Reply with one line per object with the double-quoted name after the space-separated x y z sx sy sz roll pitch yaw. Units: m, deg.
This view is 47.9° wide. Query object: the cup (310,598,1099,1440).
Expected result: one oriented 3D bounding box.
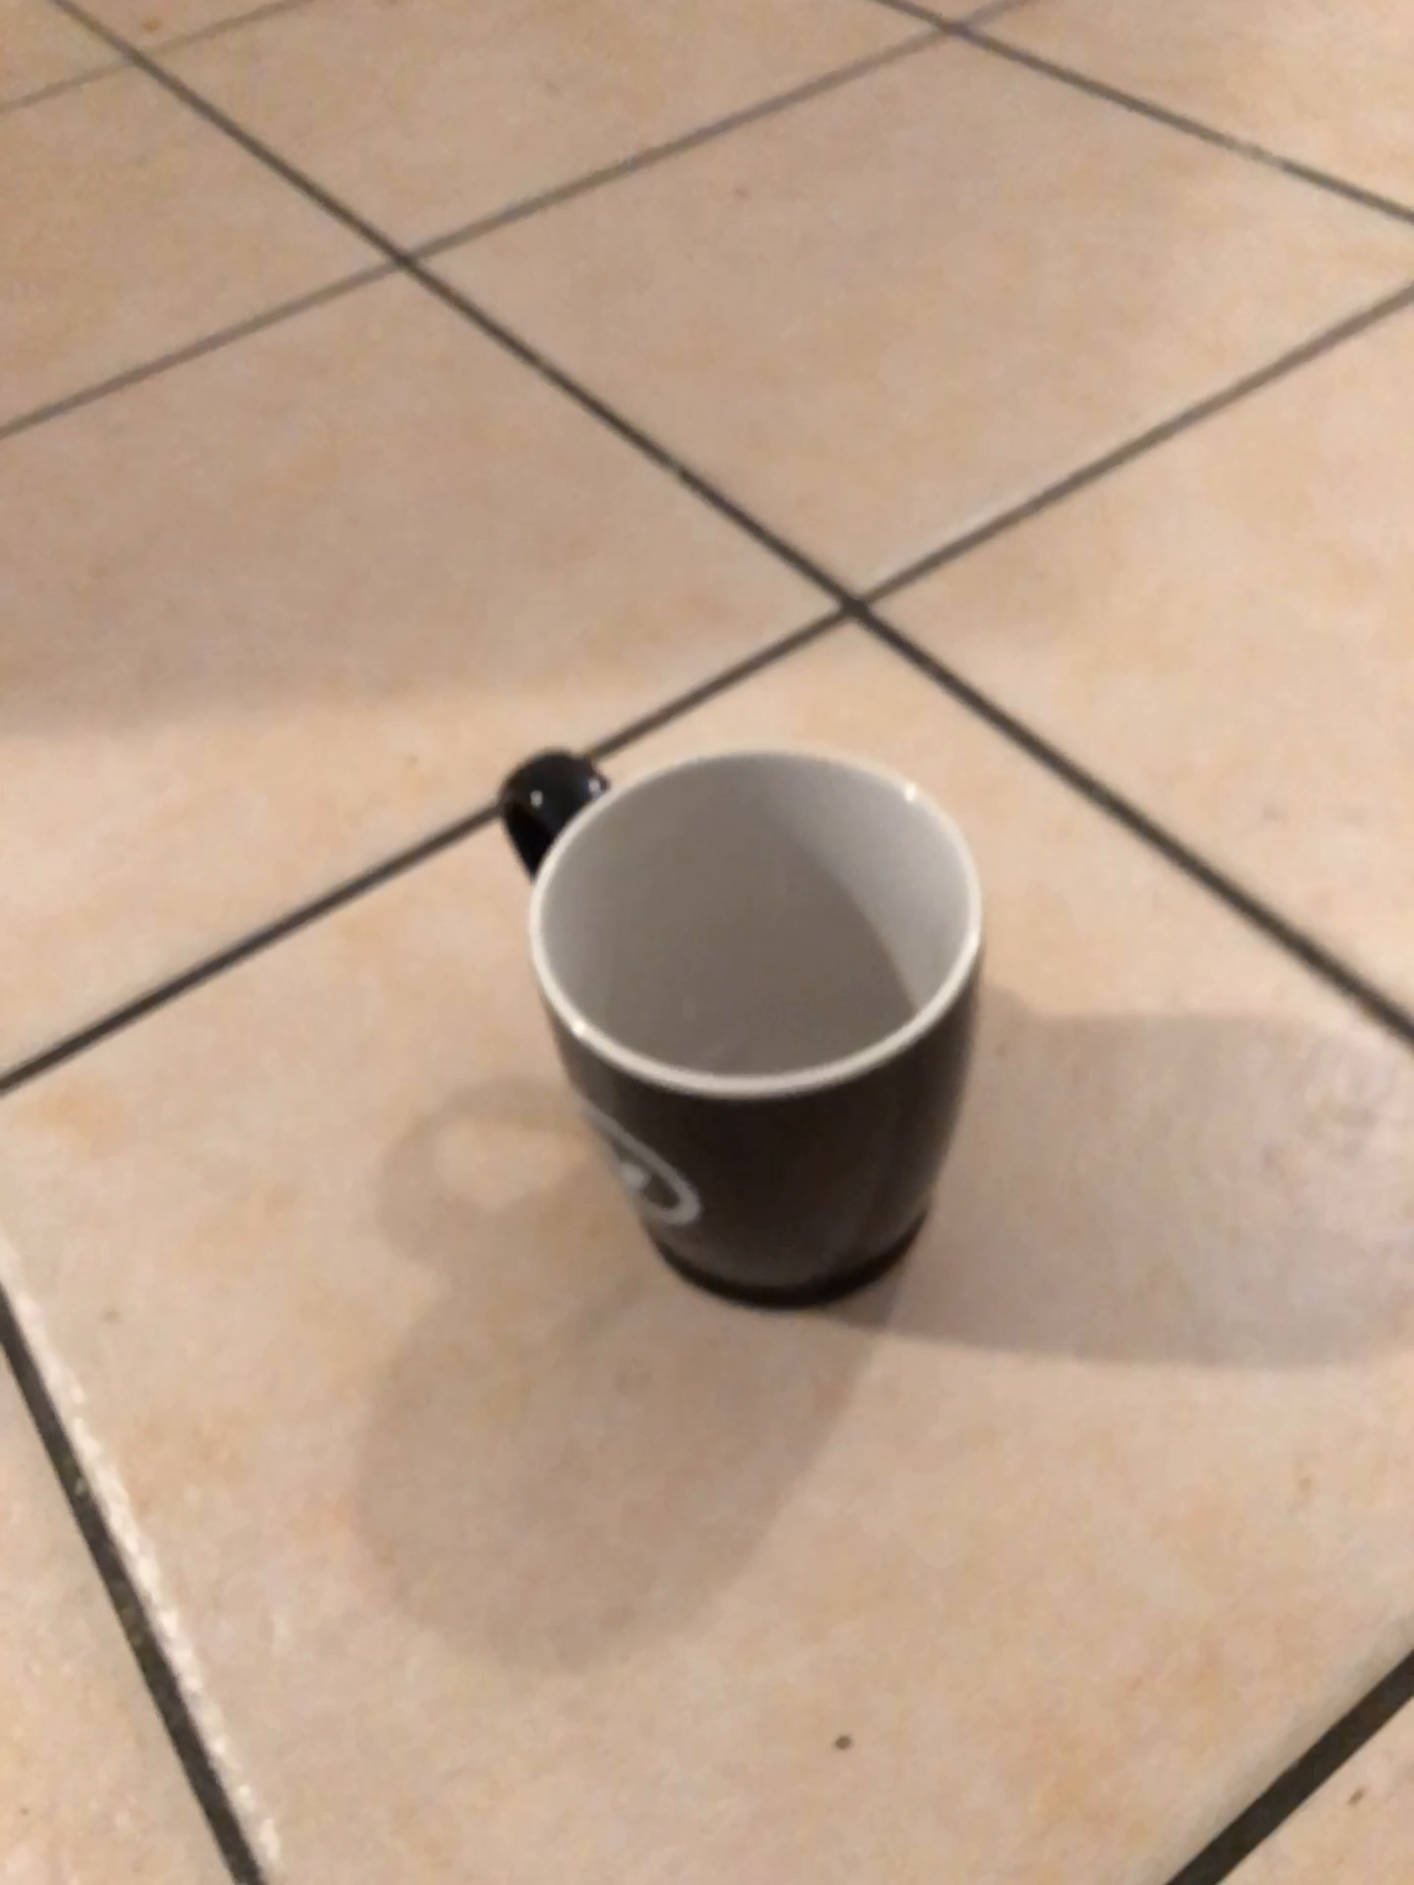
0.000 0.013 0.372 0.100 0.100 0.141 -36 55 -21 "cup"
